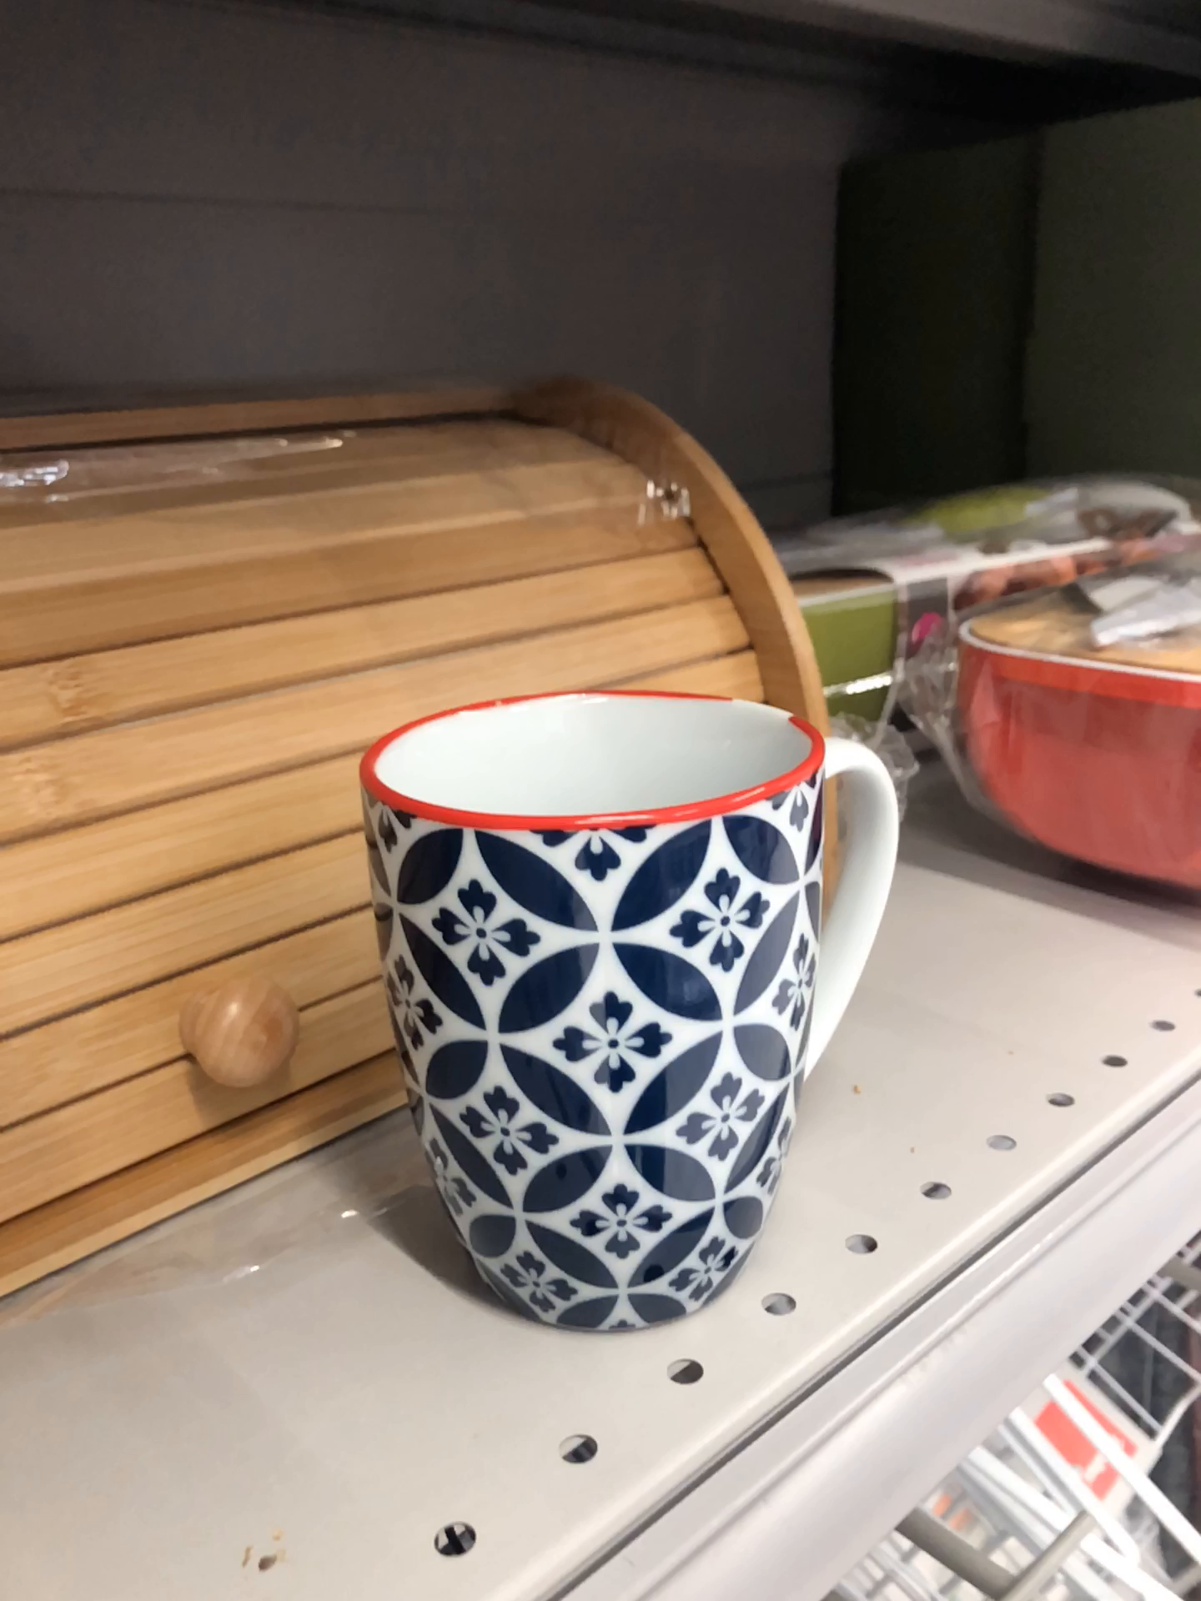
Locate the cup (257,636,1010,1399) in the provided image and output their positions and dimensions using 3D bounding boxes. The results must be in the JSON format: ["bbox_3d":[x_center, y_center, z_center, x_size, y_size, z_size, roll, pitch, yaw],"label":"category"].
[{"bbox_3d":[0.010,0.027,0.257,0.113,0.090,0.080,-18,24,-39],"label":"cup"}]
